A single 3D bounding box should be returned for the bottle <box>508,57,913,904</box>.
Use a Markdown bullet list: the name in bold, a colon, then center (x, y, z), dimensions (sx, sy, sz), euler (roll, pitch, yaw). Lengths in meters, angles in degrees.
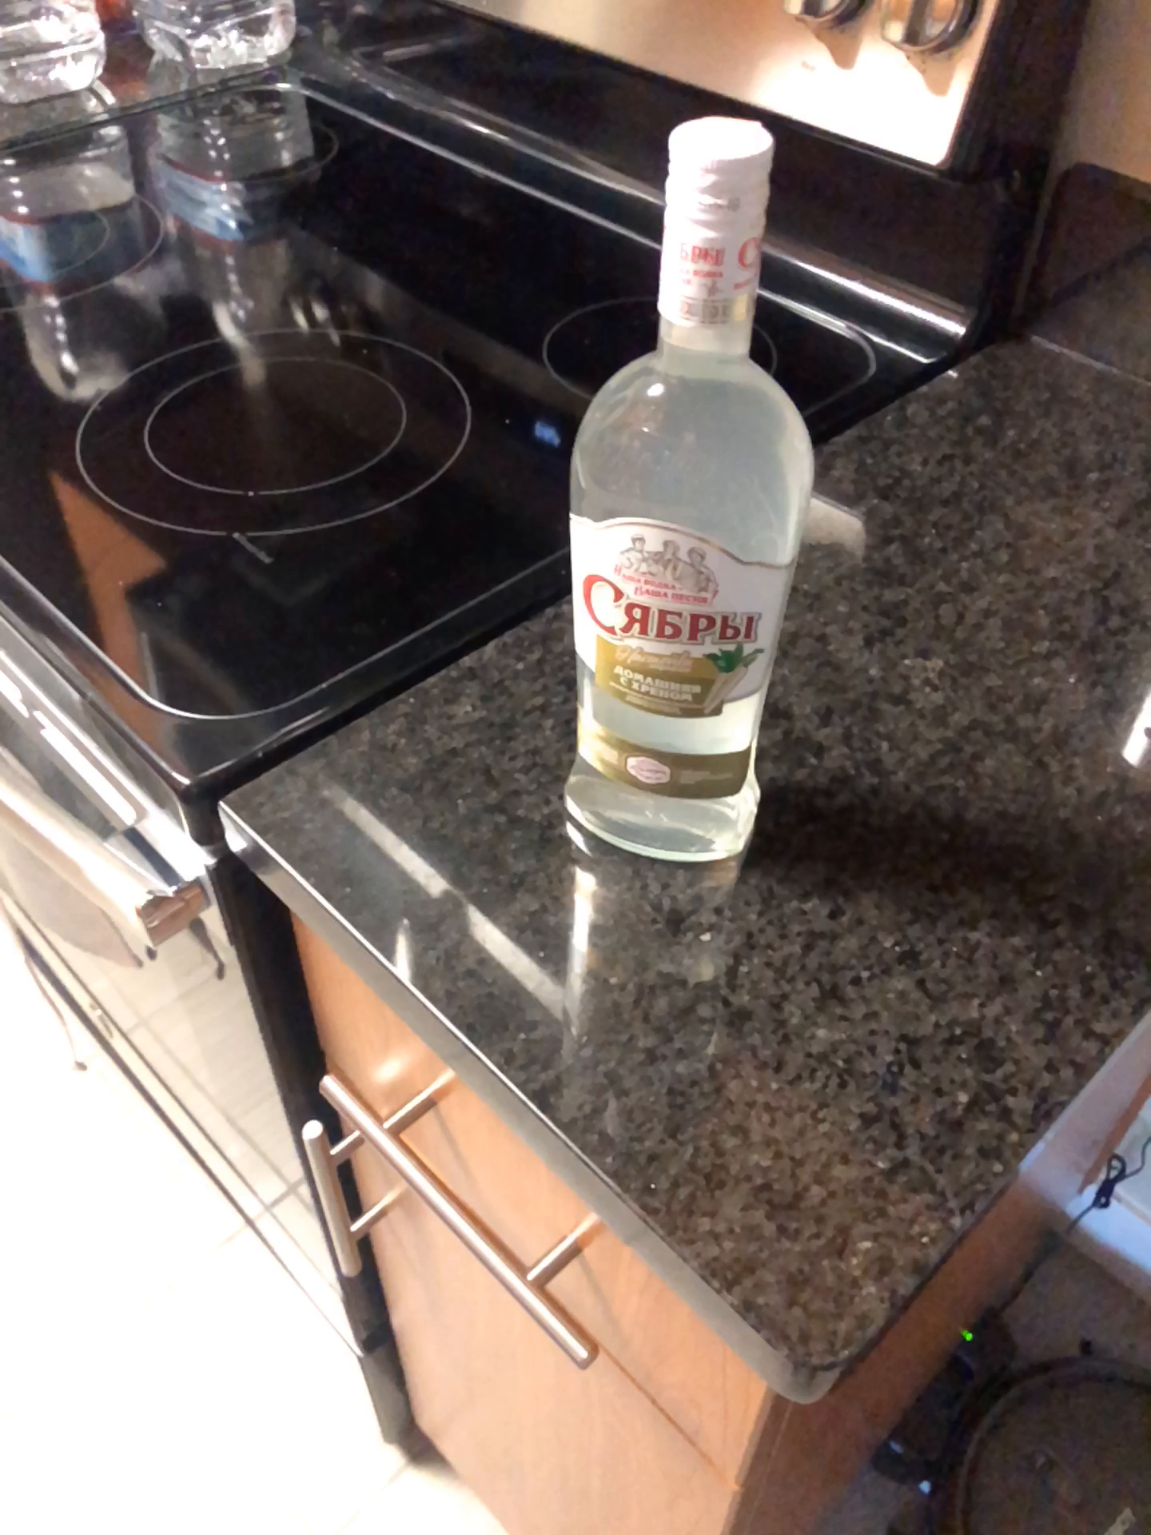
- **bottle**: center (0.035, -0.076, 0.429), dimensions (0.090, 0.269, 0.060), euler (20, 48, 18)
